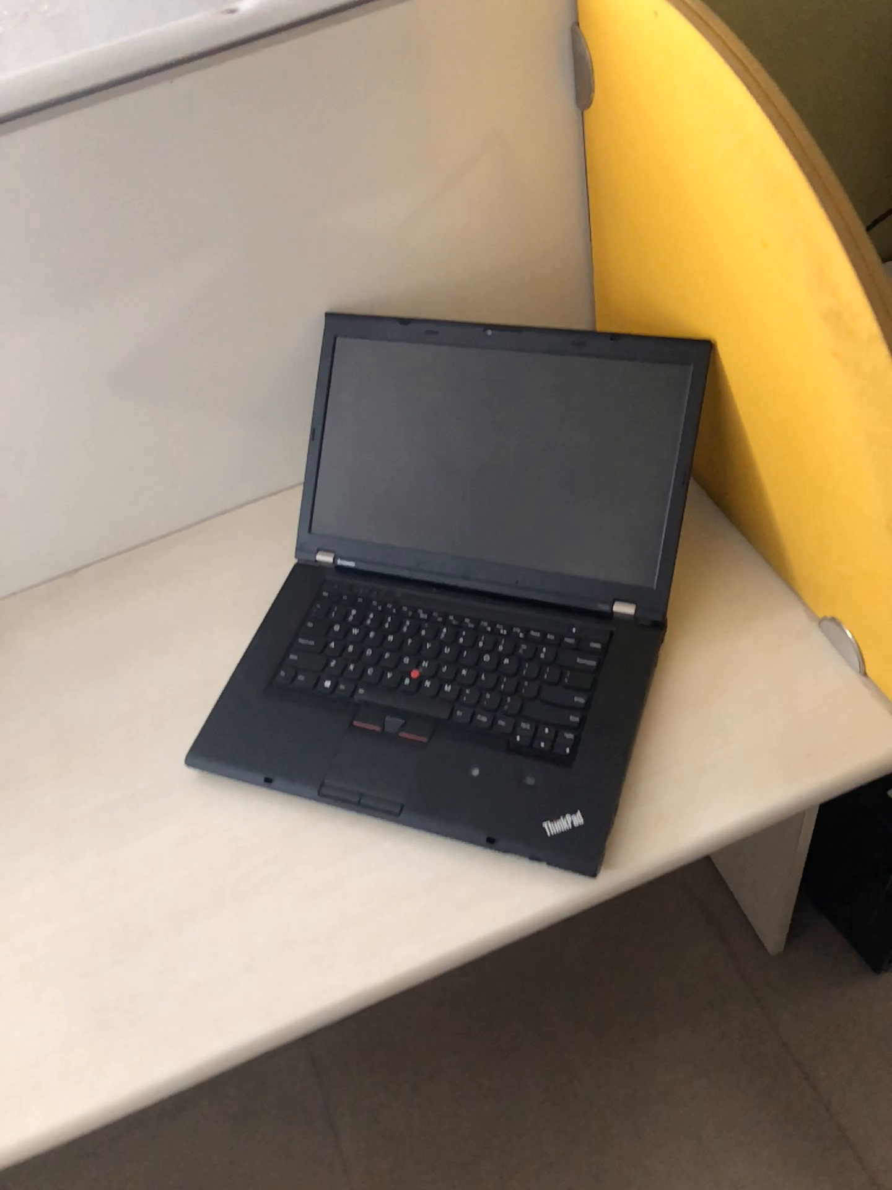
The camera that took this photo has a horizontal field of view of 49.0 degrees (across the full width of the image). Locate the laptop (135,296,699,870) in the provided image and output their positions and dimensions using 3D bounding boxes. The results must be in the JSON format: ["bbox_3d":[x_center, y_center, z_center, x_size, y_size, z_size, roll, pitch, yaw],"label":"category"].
[{"bbox_3d":[0.003,-0.043,0.844,0.353,0.143,0.420,11,57,19],"label":"laptop"}]
